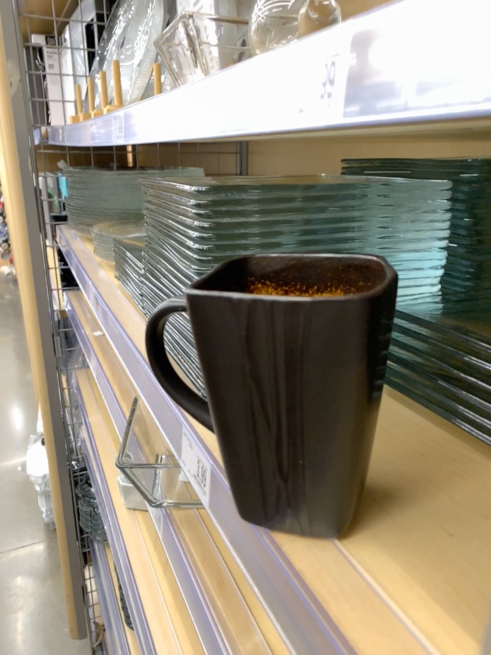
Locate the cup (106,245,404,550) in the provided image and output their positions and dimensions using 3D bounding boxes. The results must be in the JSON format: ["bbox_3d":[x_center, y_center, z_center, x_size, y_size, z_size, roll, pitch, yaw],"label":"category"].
[{"bbox_3d":[0.010,0.021,0.234,0.107,0.099,0.088,5,20,13],"label":"cup"}]
